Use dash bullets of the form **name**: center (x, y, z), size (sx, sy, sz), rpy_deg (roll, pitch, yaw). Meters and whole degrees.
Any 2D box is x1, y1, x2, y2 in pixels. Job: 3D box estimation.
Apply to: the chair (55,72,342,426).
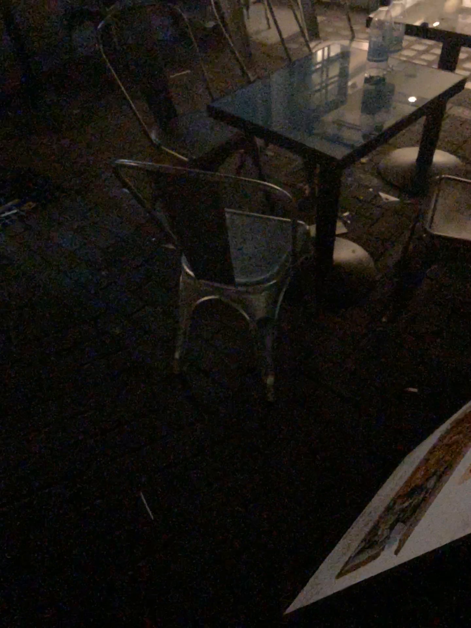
- **chair**: center (-0.027, -0.185, 1.377), size (0.501, 0.723, 0.605), rpy_deg (10, 47, 13)
